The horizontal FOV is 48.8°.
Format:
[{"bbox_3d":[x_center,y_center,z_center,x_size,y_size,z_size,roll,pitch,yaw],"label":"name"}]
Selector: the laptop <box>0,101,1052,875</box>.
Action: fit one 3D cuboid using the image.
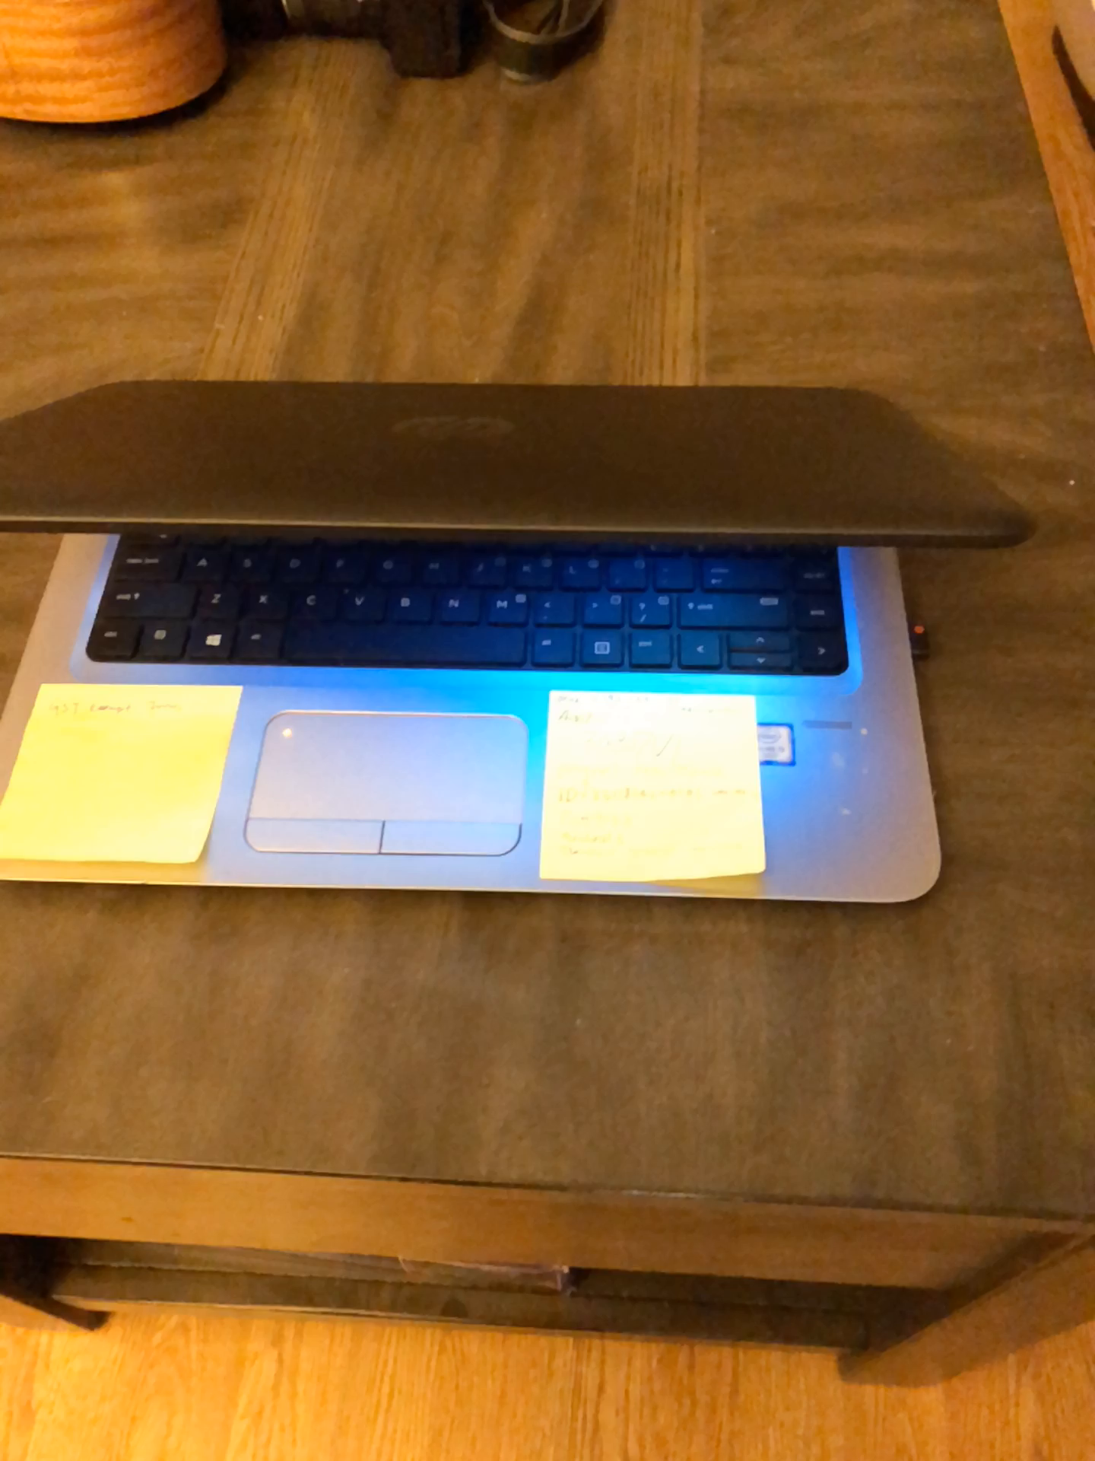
[{"bbox_3d":[-0.030,-0.086,0.415,0.323,0.131,0.227,2,57,1],"label":"laptop"}]
